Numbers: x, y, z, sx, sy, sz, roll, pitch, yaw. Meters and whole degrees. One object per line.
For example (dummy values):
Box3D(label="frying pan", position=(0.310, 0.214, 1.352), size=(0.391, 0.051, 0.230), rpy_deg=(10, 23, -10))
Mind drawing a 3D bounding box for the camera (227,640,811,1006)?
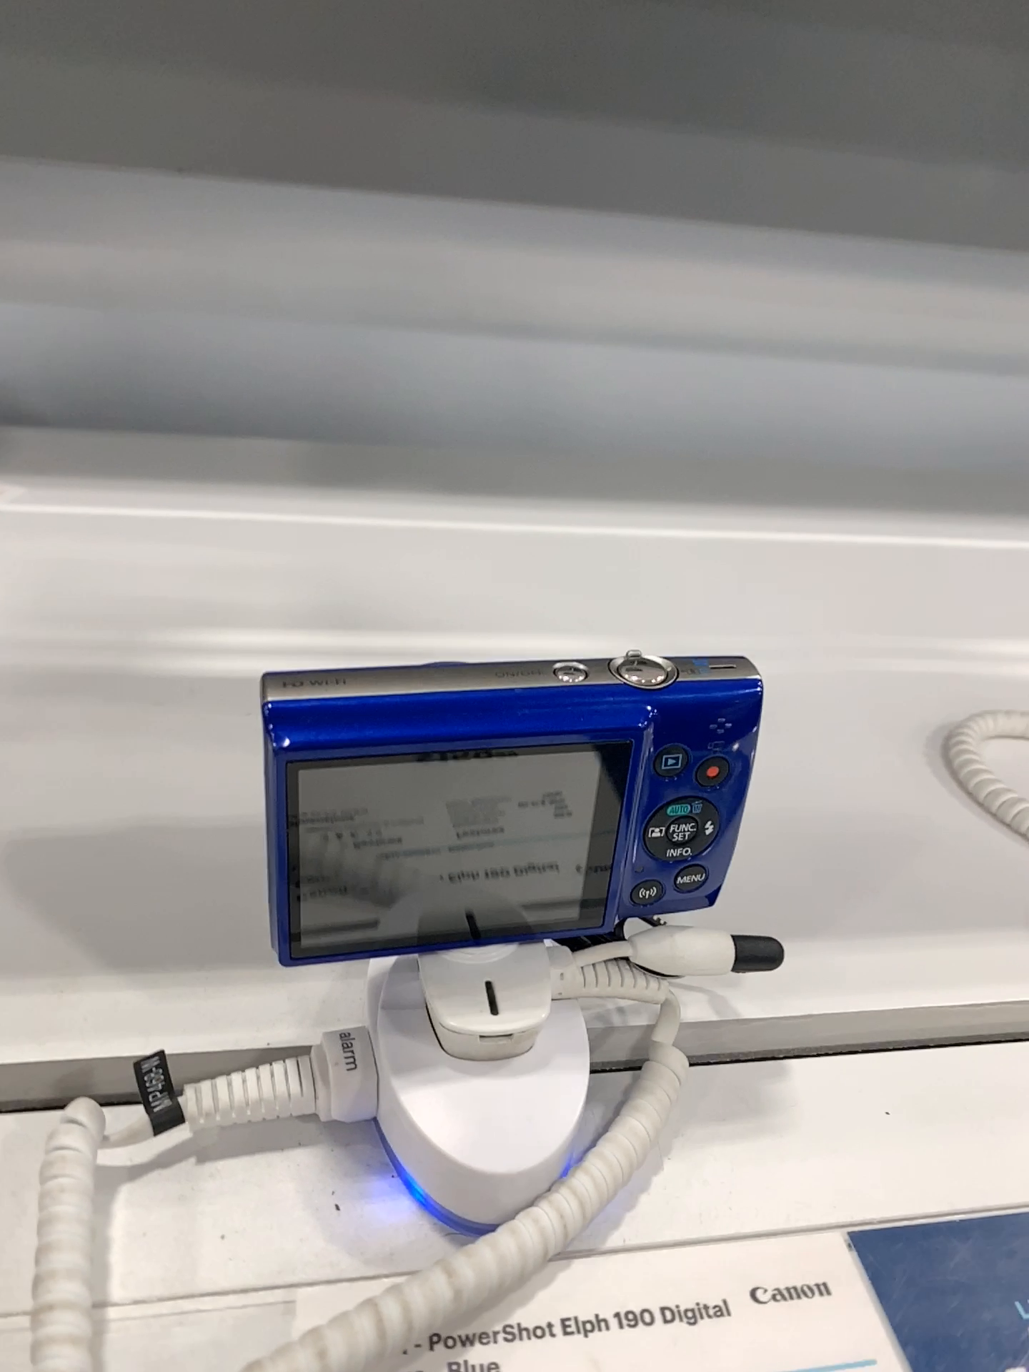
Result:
Box3D(label="camera", position=(-0.002, 0.025, 0.205), size=(0.100, 0.060, 0.027), rpy_deg=(-1, 34, -16))
